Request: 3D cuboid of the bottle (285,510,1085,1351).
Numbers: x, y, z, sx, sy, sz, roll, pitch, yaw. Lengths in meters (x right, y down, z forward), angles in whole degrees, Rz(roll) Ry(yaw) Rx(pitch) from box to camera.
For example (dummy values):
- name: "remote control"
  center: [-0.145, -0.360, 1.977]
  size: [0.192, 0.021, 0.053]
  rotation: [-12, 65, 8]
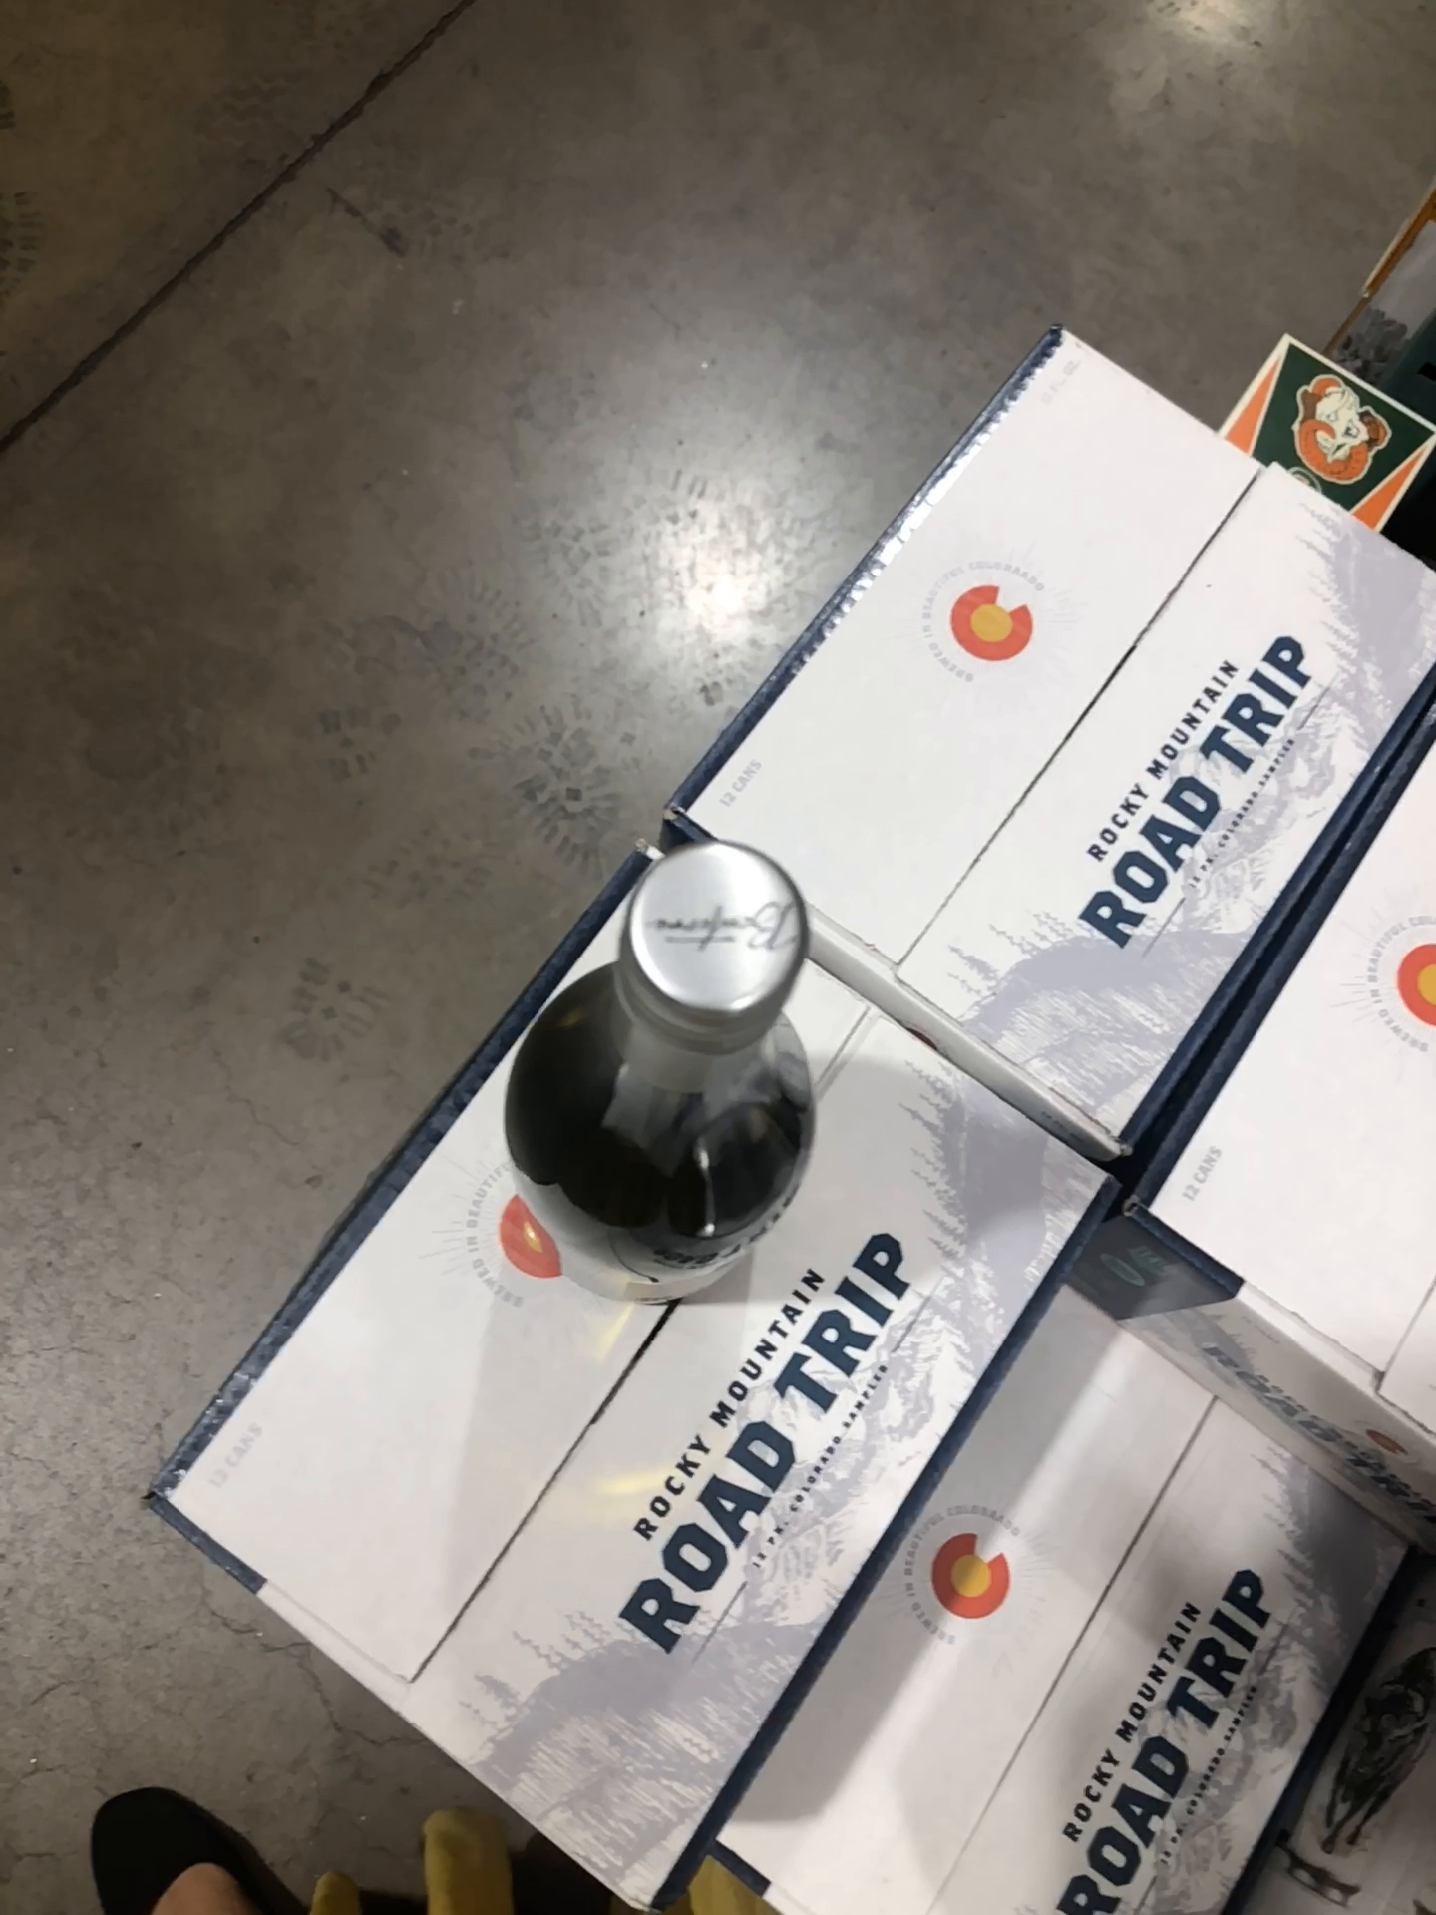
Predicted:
- name: "bottle"
  center: [-0.016, 0.025, 0.379]
  size: [0.090, 0.286, 0.083]
  rotation: [1, 74, -5]
